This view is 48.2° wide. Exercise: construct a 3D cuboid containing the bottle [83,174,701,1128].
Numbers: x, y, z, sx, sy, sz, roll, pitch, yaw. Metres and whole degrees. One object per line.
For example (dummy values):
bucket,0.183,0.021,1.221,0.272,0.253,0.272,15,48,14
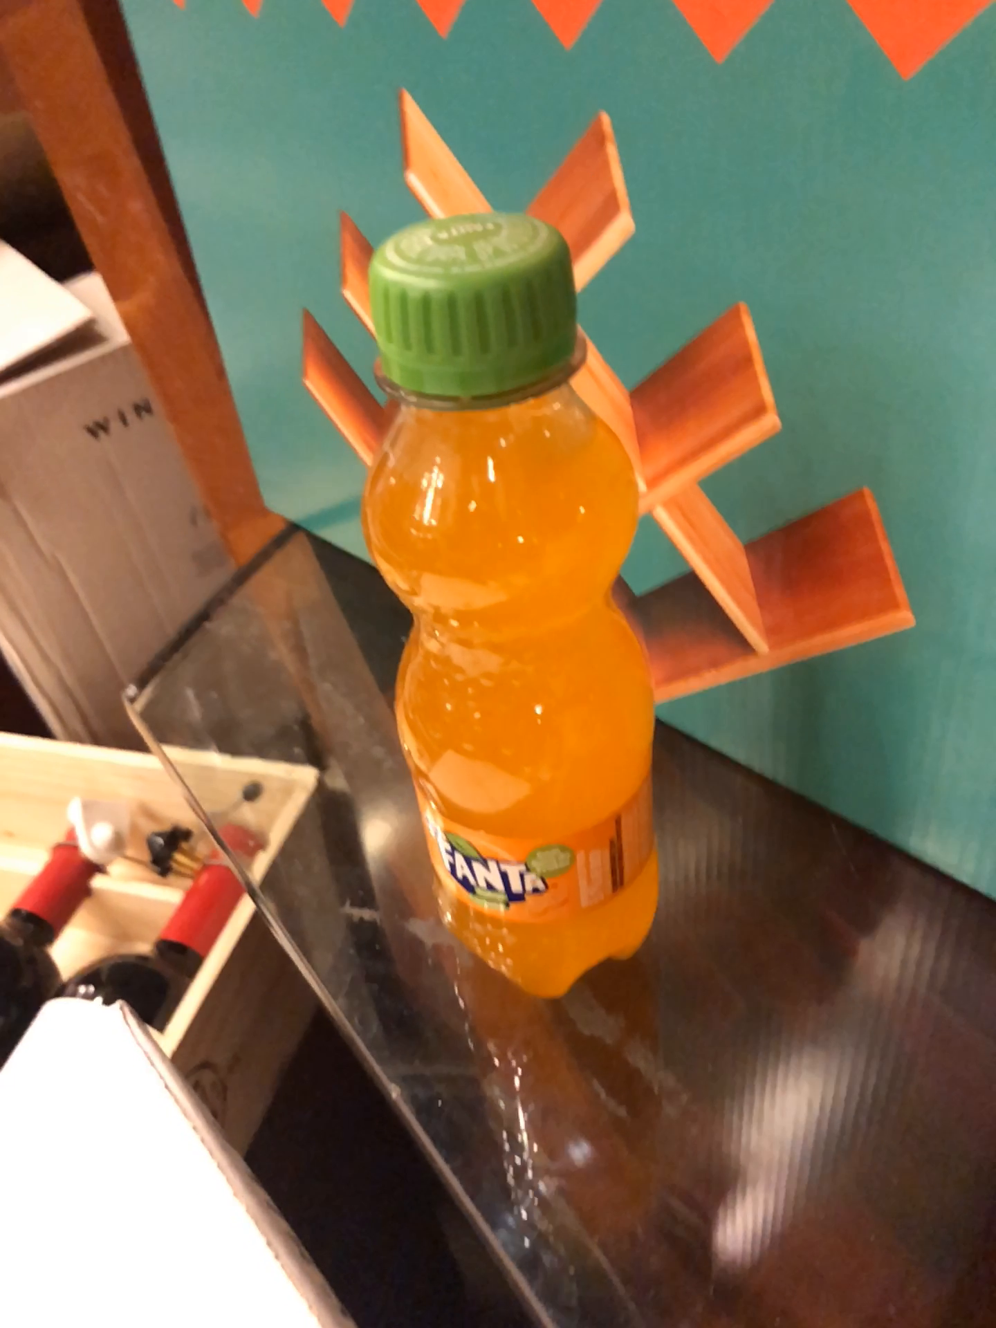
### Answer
bottle,-0.005,0.005,0.203,0.060,0.159,0.060,-6,39,5
